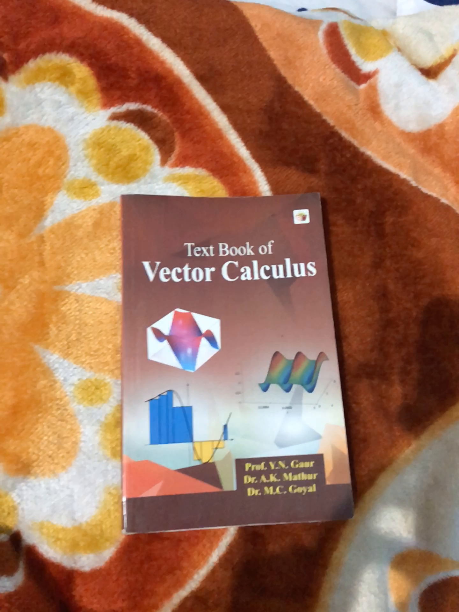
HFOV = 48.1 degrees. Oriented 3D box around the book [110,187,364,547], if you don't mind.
[{"bbox_3d":[-0.001,0.028,0.319,0.140,0.020,0.210,-2,76,-6],"label":"book"}]
